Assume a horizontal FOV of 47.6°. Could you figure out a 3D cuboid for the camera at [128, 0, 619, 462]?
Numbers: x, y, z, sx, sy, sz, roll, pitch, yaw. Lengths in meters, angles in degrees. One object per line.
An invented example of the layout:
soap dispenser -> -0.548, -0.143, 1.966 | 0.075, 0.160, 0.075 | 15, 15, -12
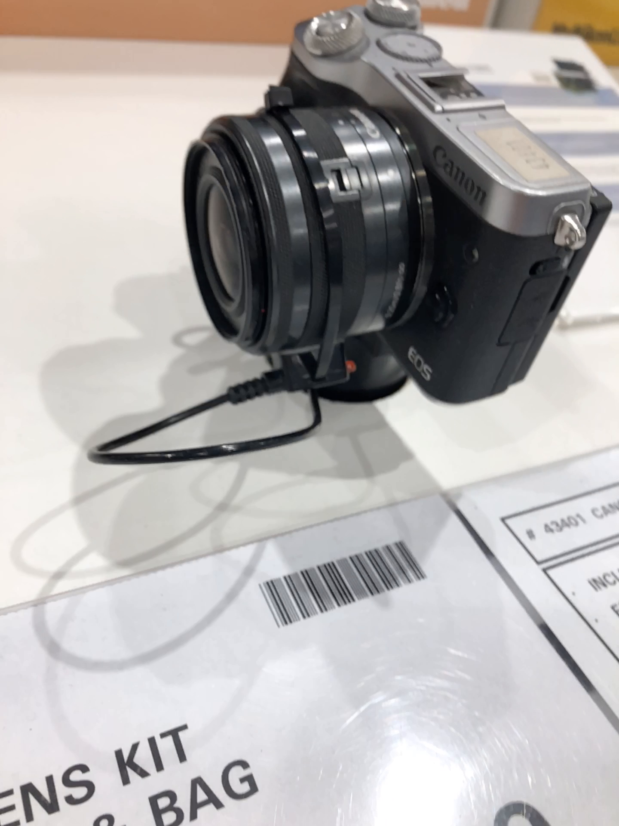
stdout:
camera -> 0.006, -0.058, 0.193 | 0.083, 0.075, 0.103 | -13, 51, -22
